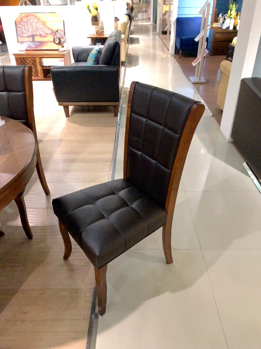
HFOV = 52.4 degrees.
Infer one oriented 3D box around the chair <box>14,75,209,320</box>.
[{"bbox_3d":[-0.082,0.081,1.333,0.601,0.936,0.532,-23,39,-30],"label":"chair"}]
